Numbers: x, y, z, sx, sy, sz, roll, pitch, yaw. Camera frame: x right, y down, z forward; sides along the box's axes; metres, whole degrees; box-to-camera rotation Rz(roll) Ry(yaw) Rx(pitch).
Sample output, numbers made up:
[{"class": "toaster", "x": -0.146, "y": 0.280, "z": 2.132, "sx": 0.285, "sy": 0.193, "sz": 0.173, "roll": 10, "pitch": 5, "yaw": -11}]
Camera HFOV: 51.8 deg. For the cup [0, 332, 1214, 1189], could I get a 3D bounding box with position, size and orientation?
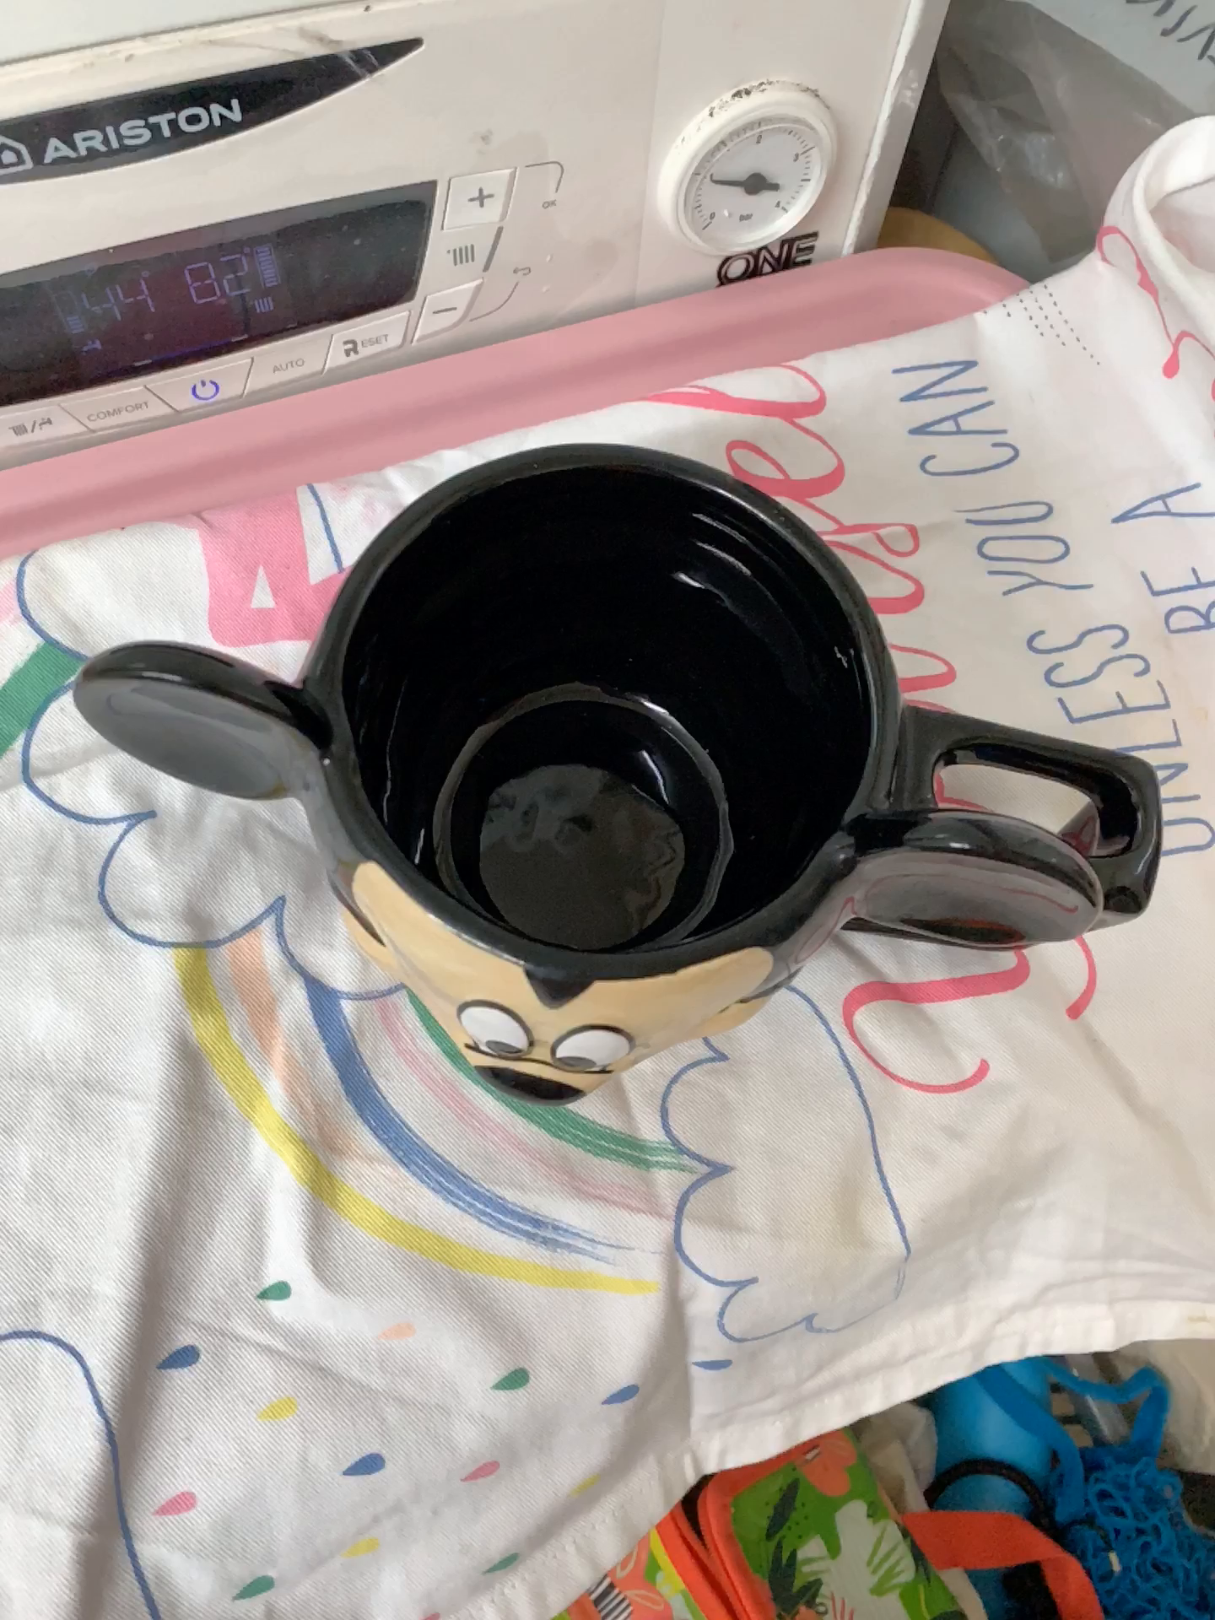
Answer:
[{"class": "cup", "x": 0.000, "y": -0.003, "z": 0.225, "sx": 0.190, "sy": 0.080, "sz": 0.100, "roll": 10, "pitch": 67, "yaw": 0}]
